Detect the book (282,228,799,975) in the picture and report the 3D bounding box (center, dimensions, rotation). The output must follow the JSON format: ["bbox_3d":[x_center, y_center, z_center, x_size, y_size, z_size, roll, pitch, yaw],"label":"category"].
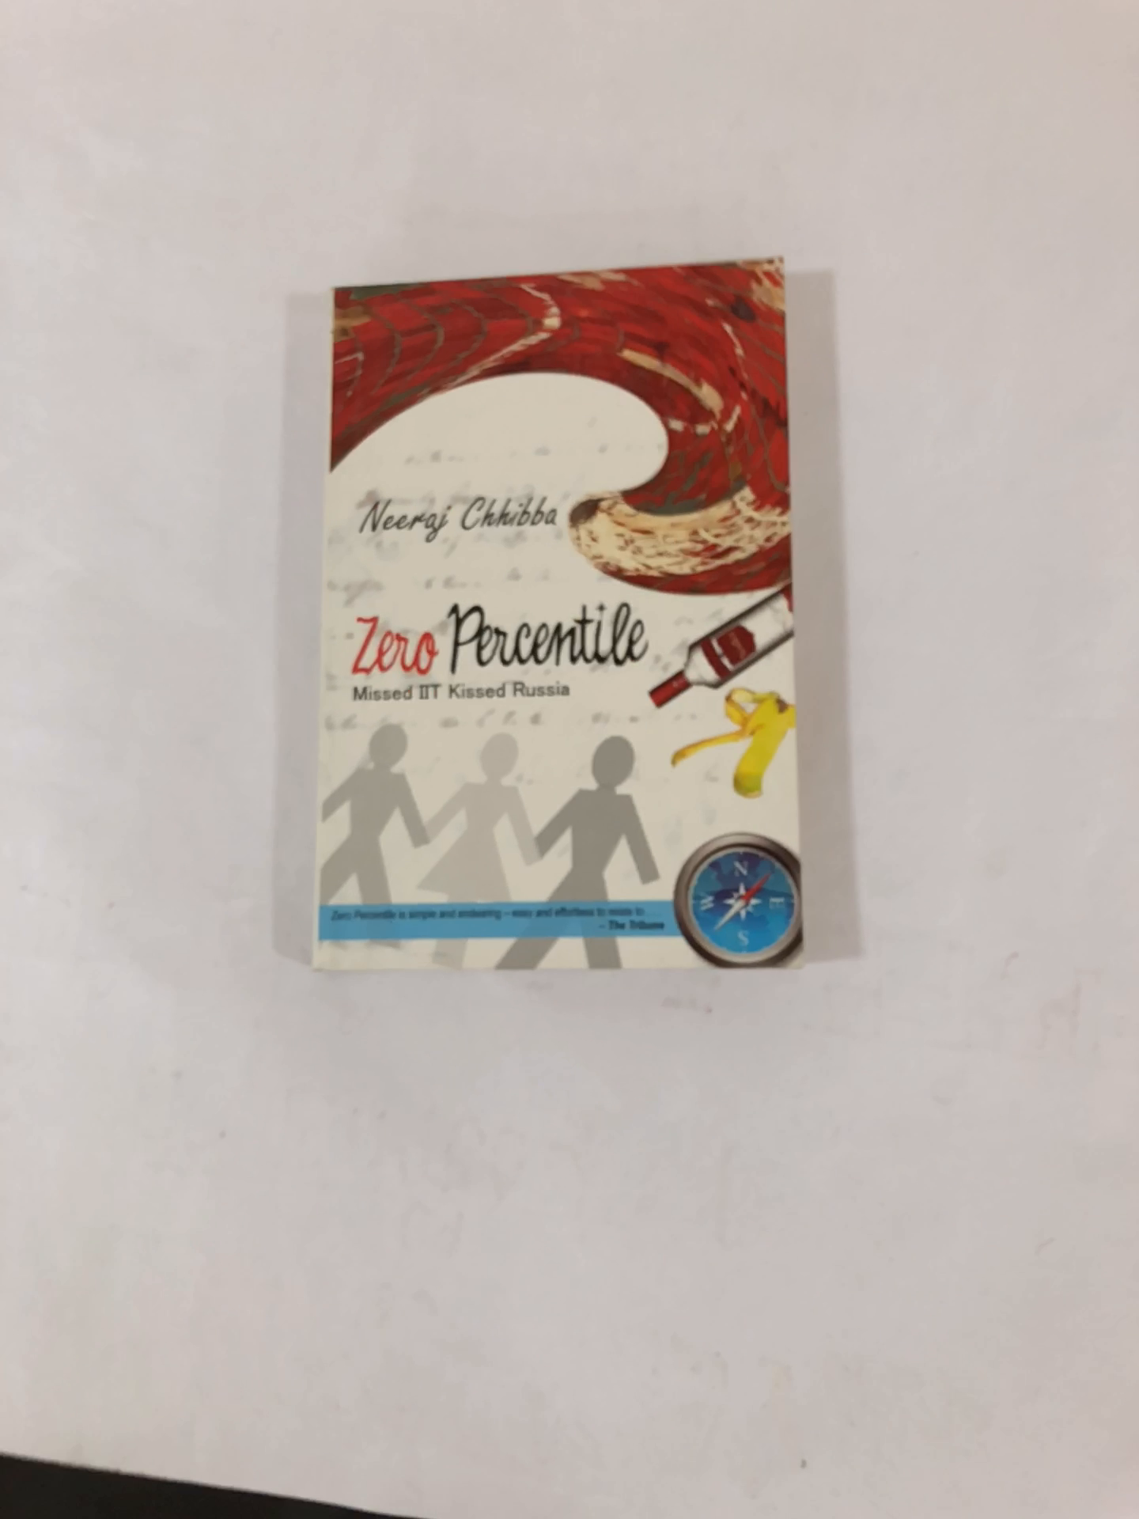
[{"bbox_3d":[-0.007,-0.043,0.349,0.132,0.021,0.200,-1,81,7],"label":"book"}]
